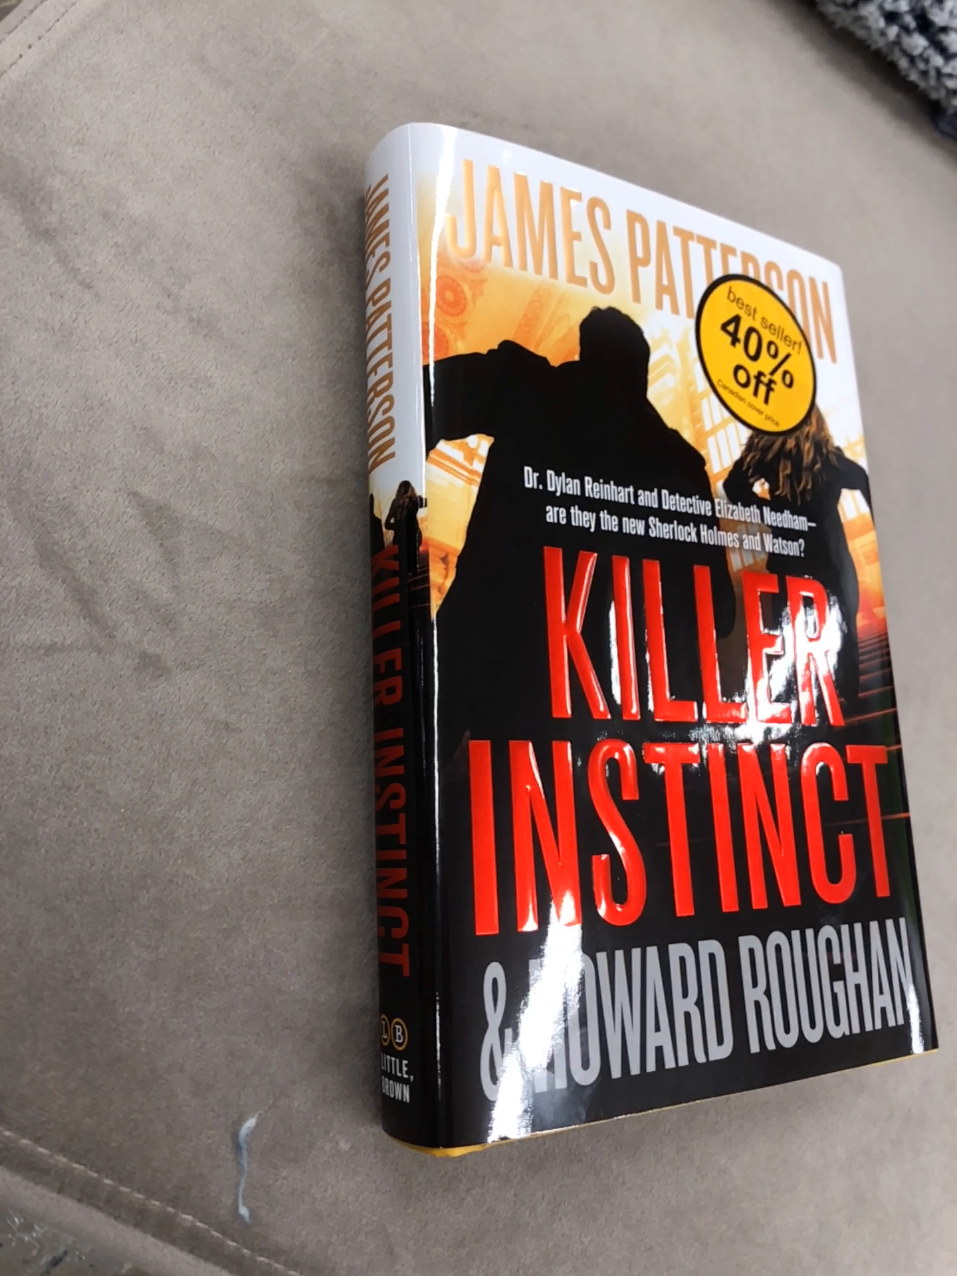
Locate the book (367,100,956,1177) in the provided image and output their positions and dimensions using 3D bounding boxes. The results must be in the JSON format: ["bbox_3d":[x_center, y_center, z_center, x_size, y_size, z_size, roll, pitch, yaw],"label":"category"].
[{"bbox_3d":[0.058,-0.002,0.292,0.172,0.038,0.237,5,77,-31],"label":"book"}]
